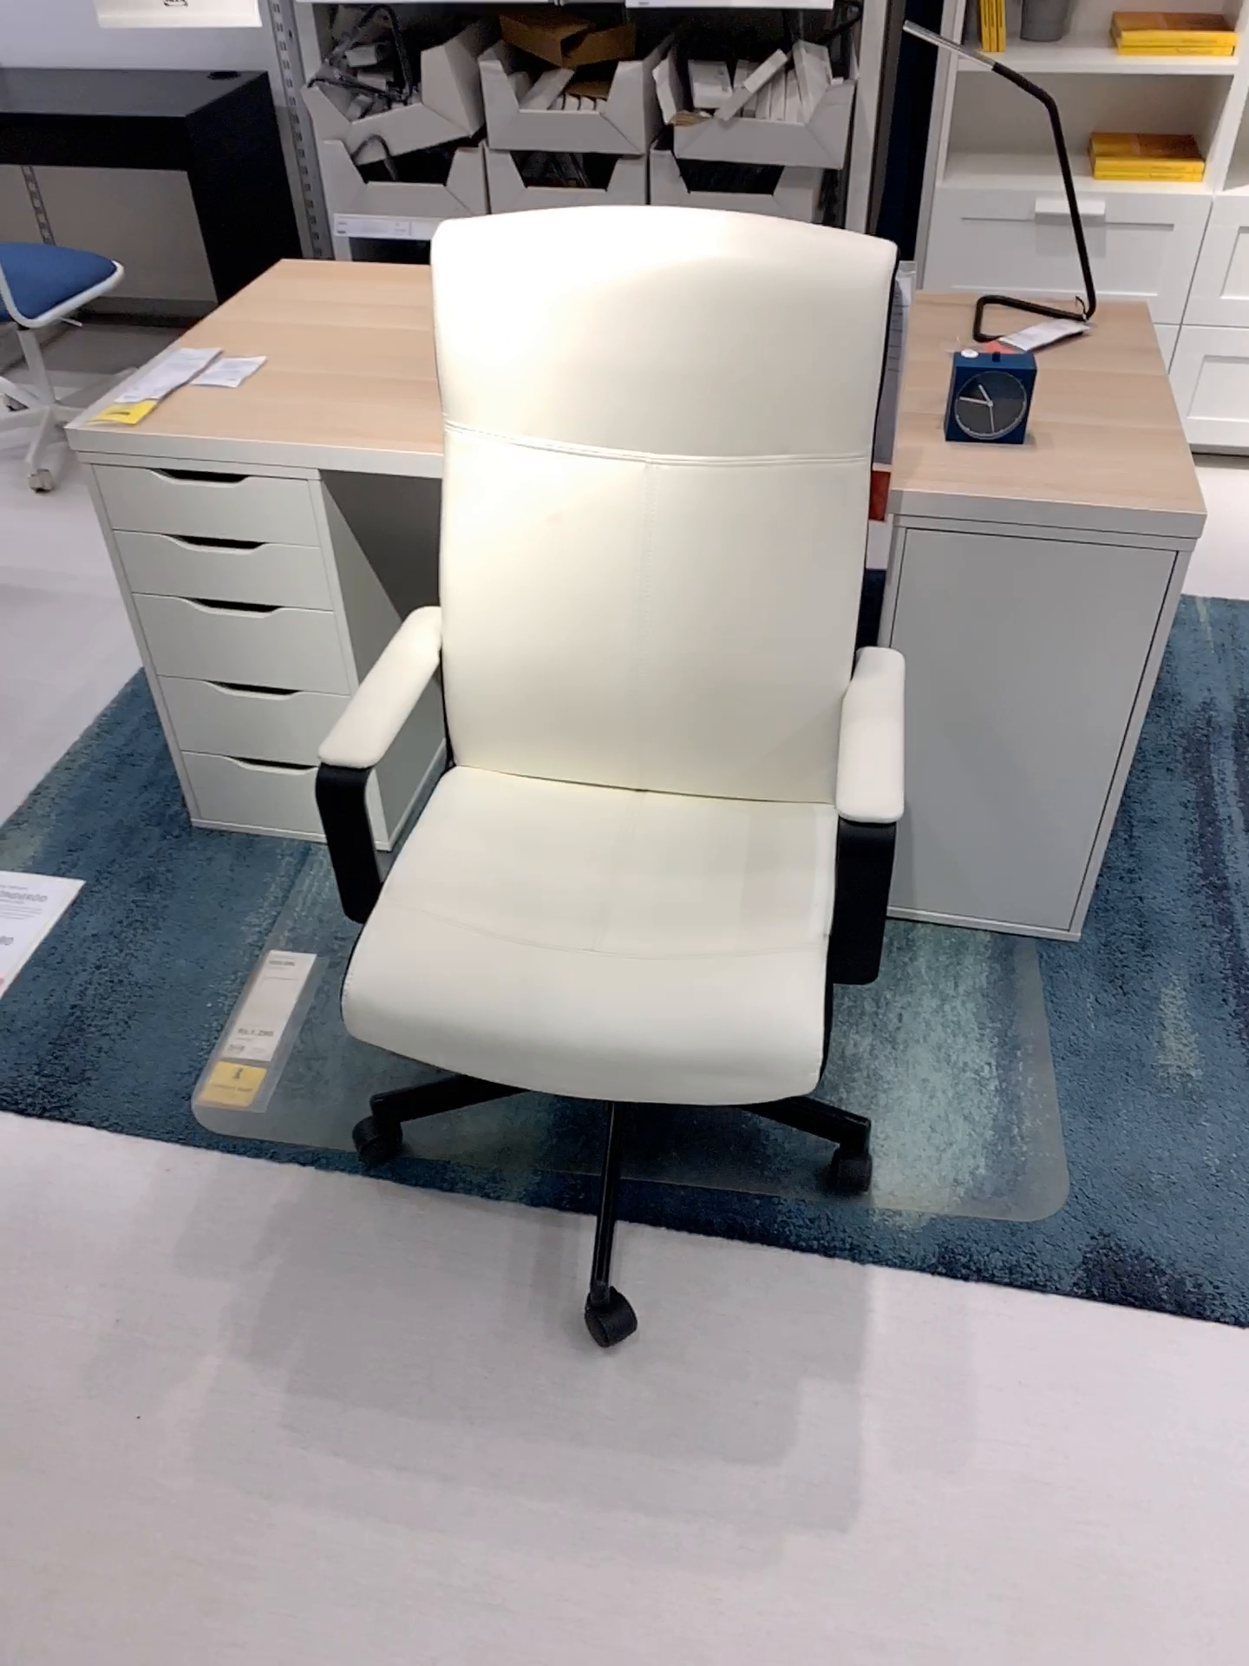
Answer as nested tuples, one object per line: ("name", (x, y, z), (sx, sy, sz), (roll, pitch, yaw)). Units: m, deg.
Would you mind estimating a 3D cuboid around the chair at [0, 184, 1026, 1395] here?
("chair", (-0.038, -0.049, 1.319), (0.690, 0.956, 0.703), (6, 41, 10))
